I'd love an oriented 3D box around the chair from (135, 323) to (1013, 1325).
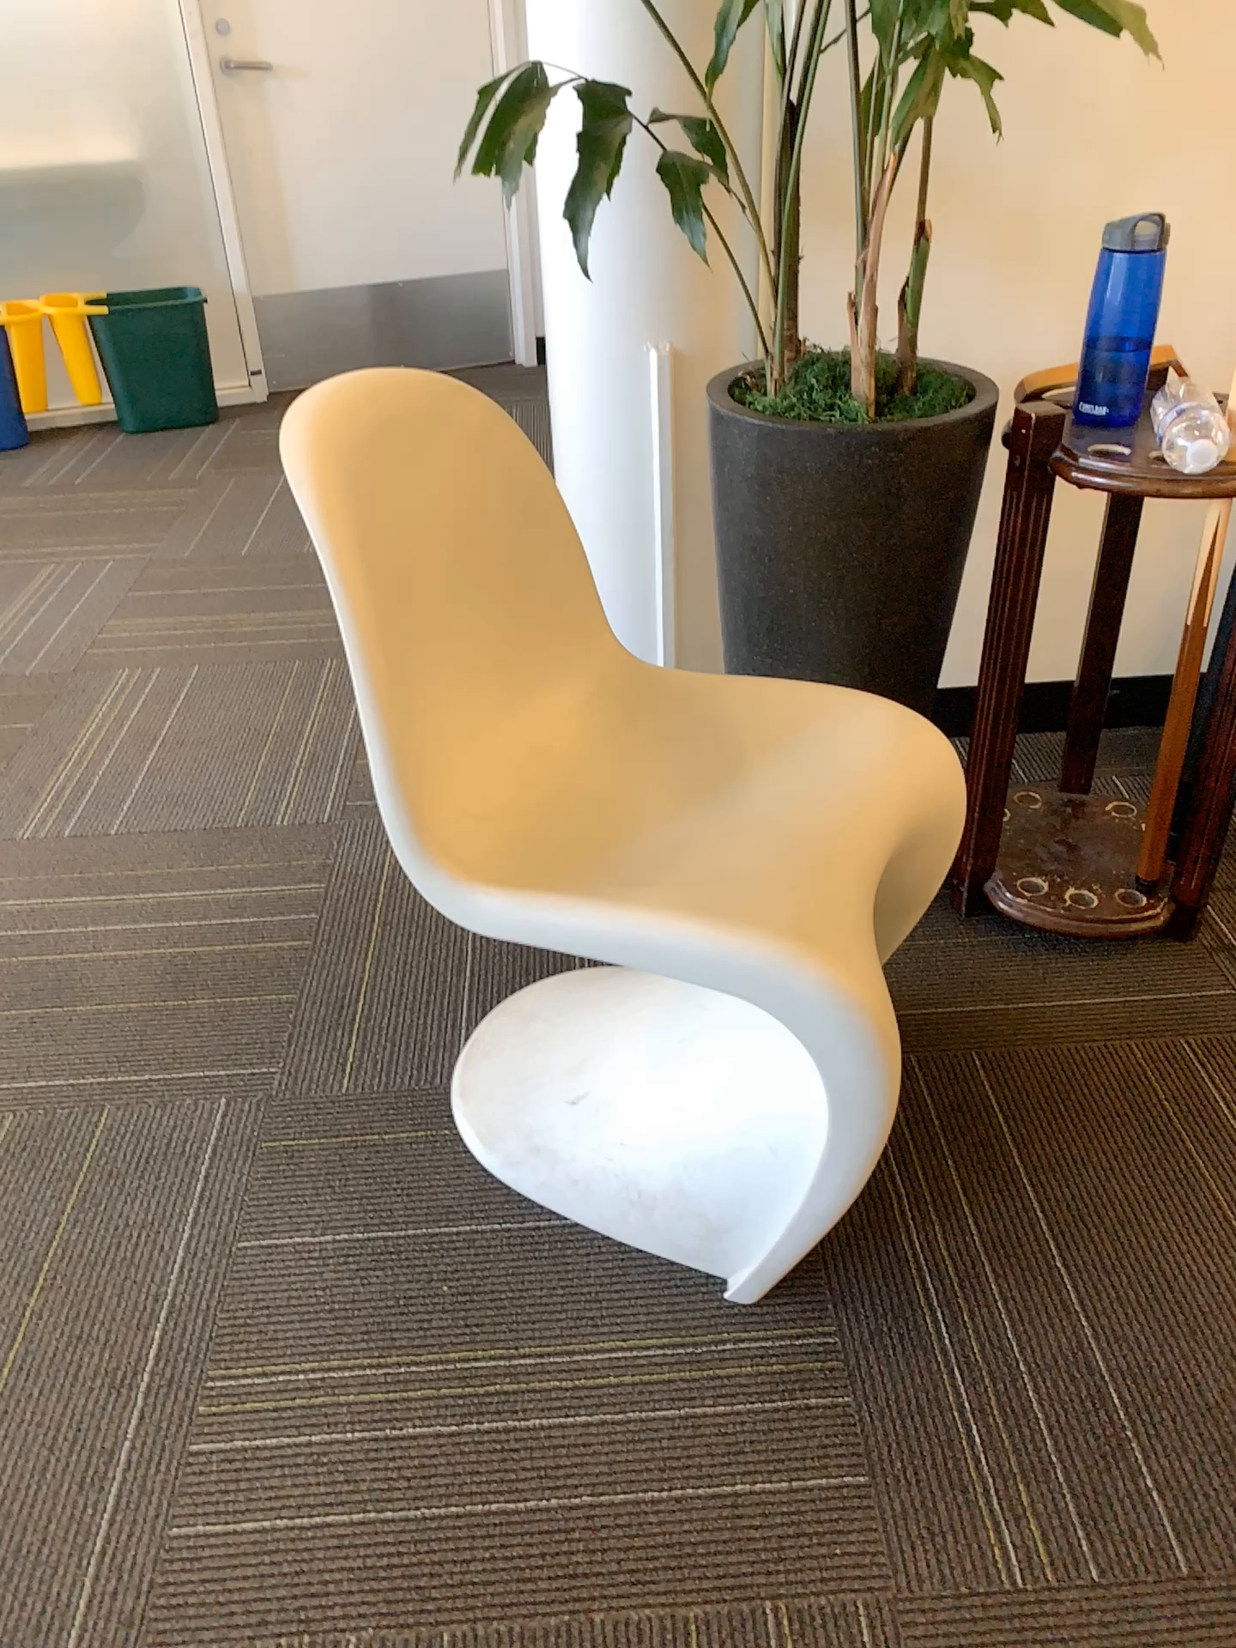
[{"bbox_3d":[0.015,-0.033,1.275,0.580,0.775,0.603,4,33,9],"label":"chair"}]
